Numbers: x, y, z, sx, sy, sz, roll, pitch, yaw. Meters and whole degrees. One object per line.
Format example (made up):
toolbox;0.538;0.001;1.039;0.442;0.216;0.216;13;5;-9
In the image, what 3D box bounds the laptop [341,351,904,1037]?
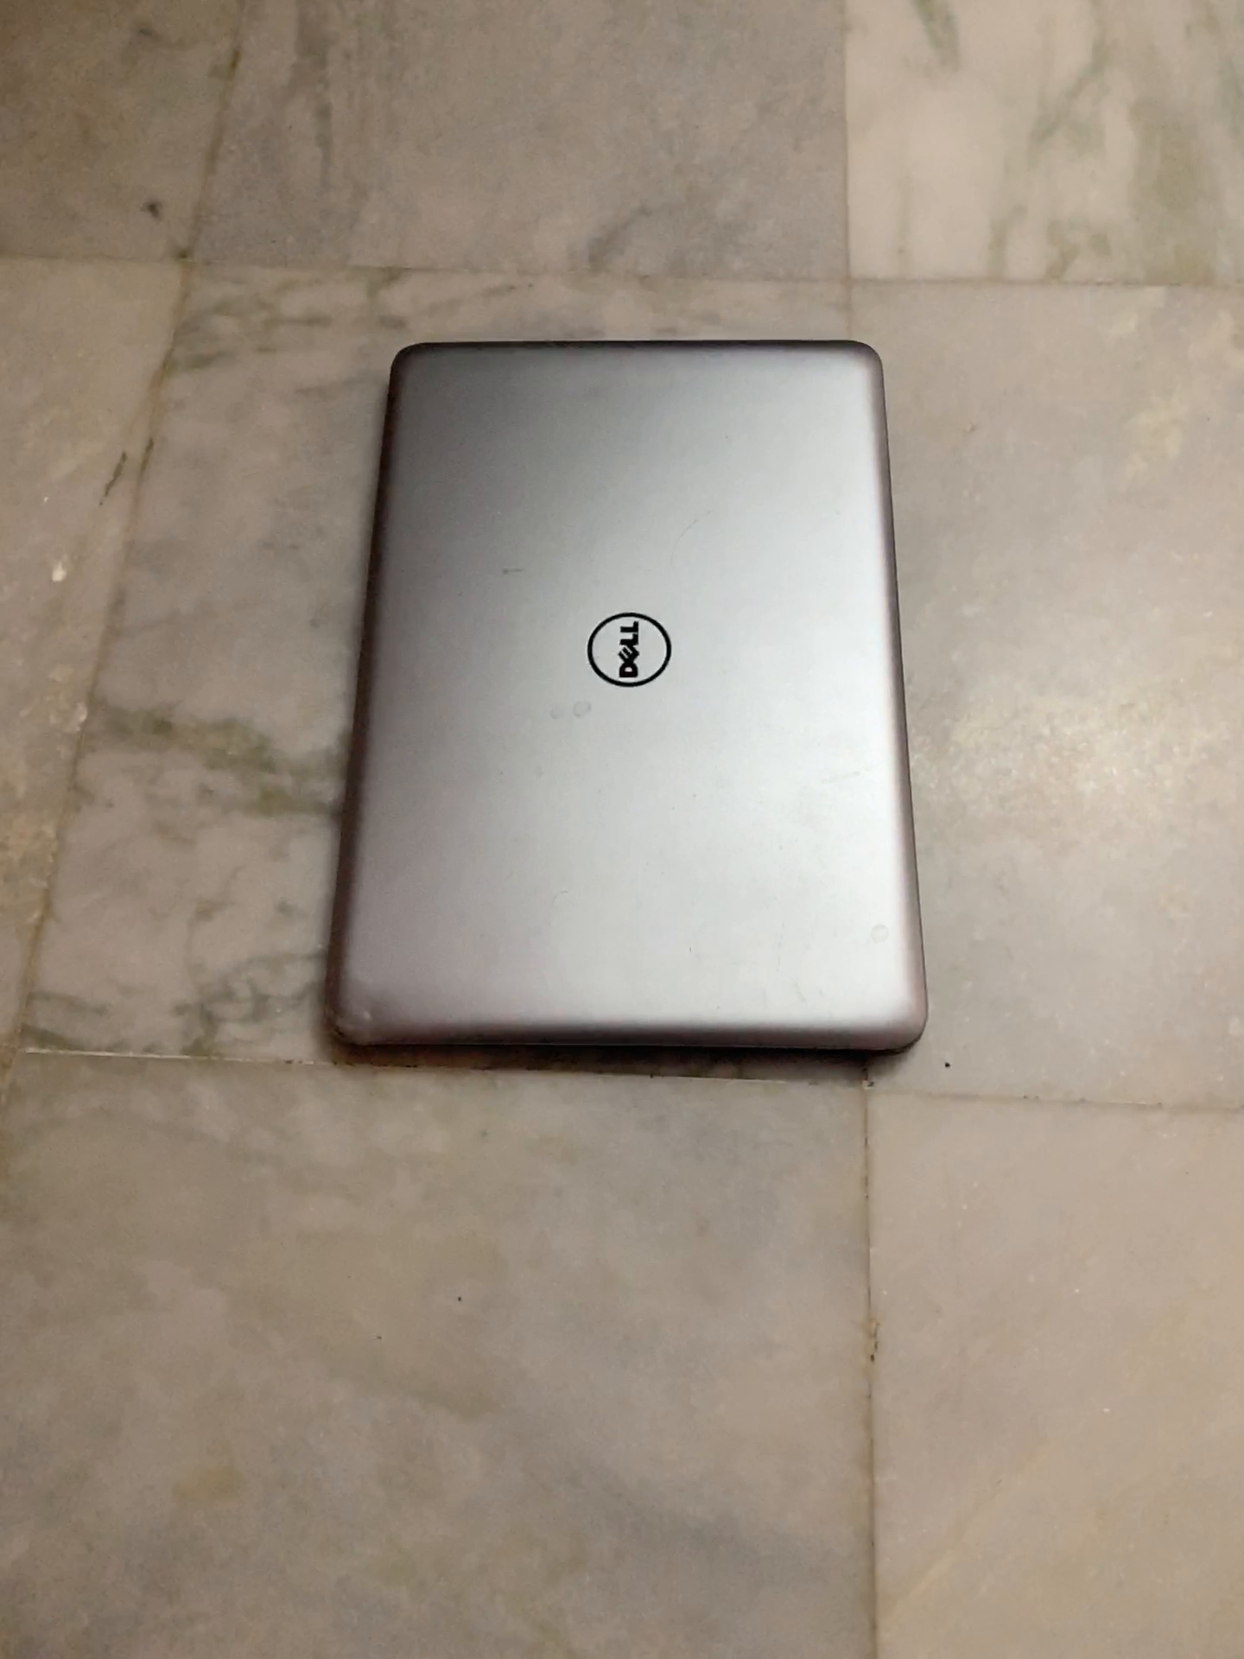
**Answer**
laptop;0.004;-0.080;0.588;0.234;0.001;0.352;1;69;2
